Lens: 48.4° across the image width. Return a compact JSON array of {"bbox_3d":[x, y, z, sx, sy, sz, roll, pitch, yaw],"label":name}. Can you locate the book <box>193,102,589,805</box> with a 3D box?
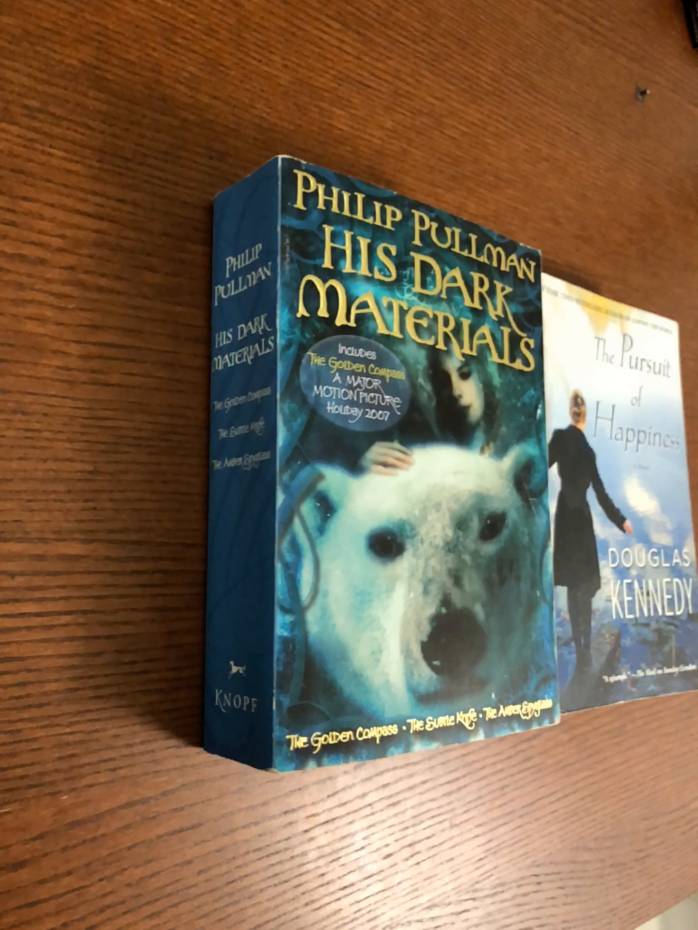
[{"bbox_3d":[0.026,-0.002,0.348,0.181,0.050,0.250,6,79,-38],"label":"book"}]

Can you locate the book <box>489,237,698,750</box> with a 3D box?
[{"bbox_3d":[0.161,0.018,0.448,0.181,0.040,0.250,6,79,-38],"label":"book"}]
